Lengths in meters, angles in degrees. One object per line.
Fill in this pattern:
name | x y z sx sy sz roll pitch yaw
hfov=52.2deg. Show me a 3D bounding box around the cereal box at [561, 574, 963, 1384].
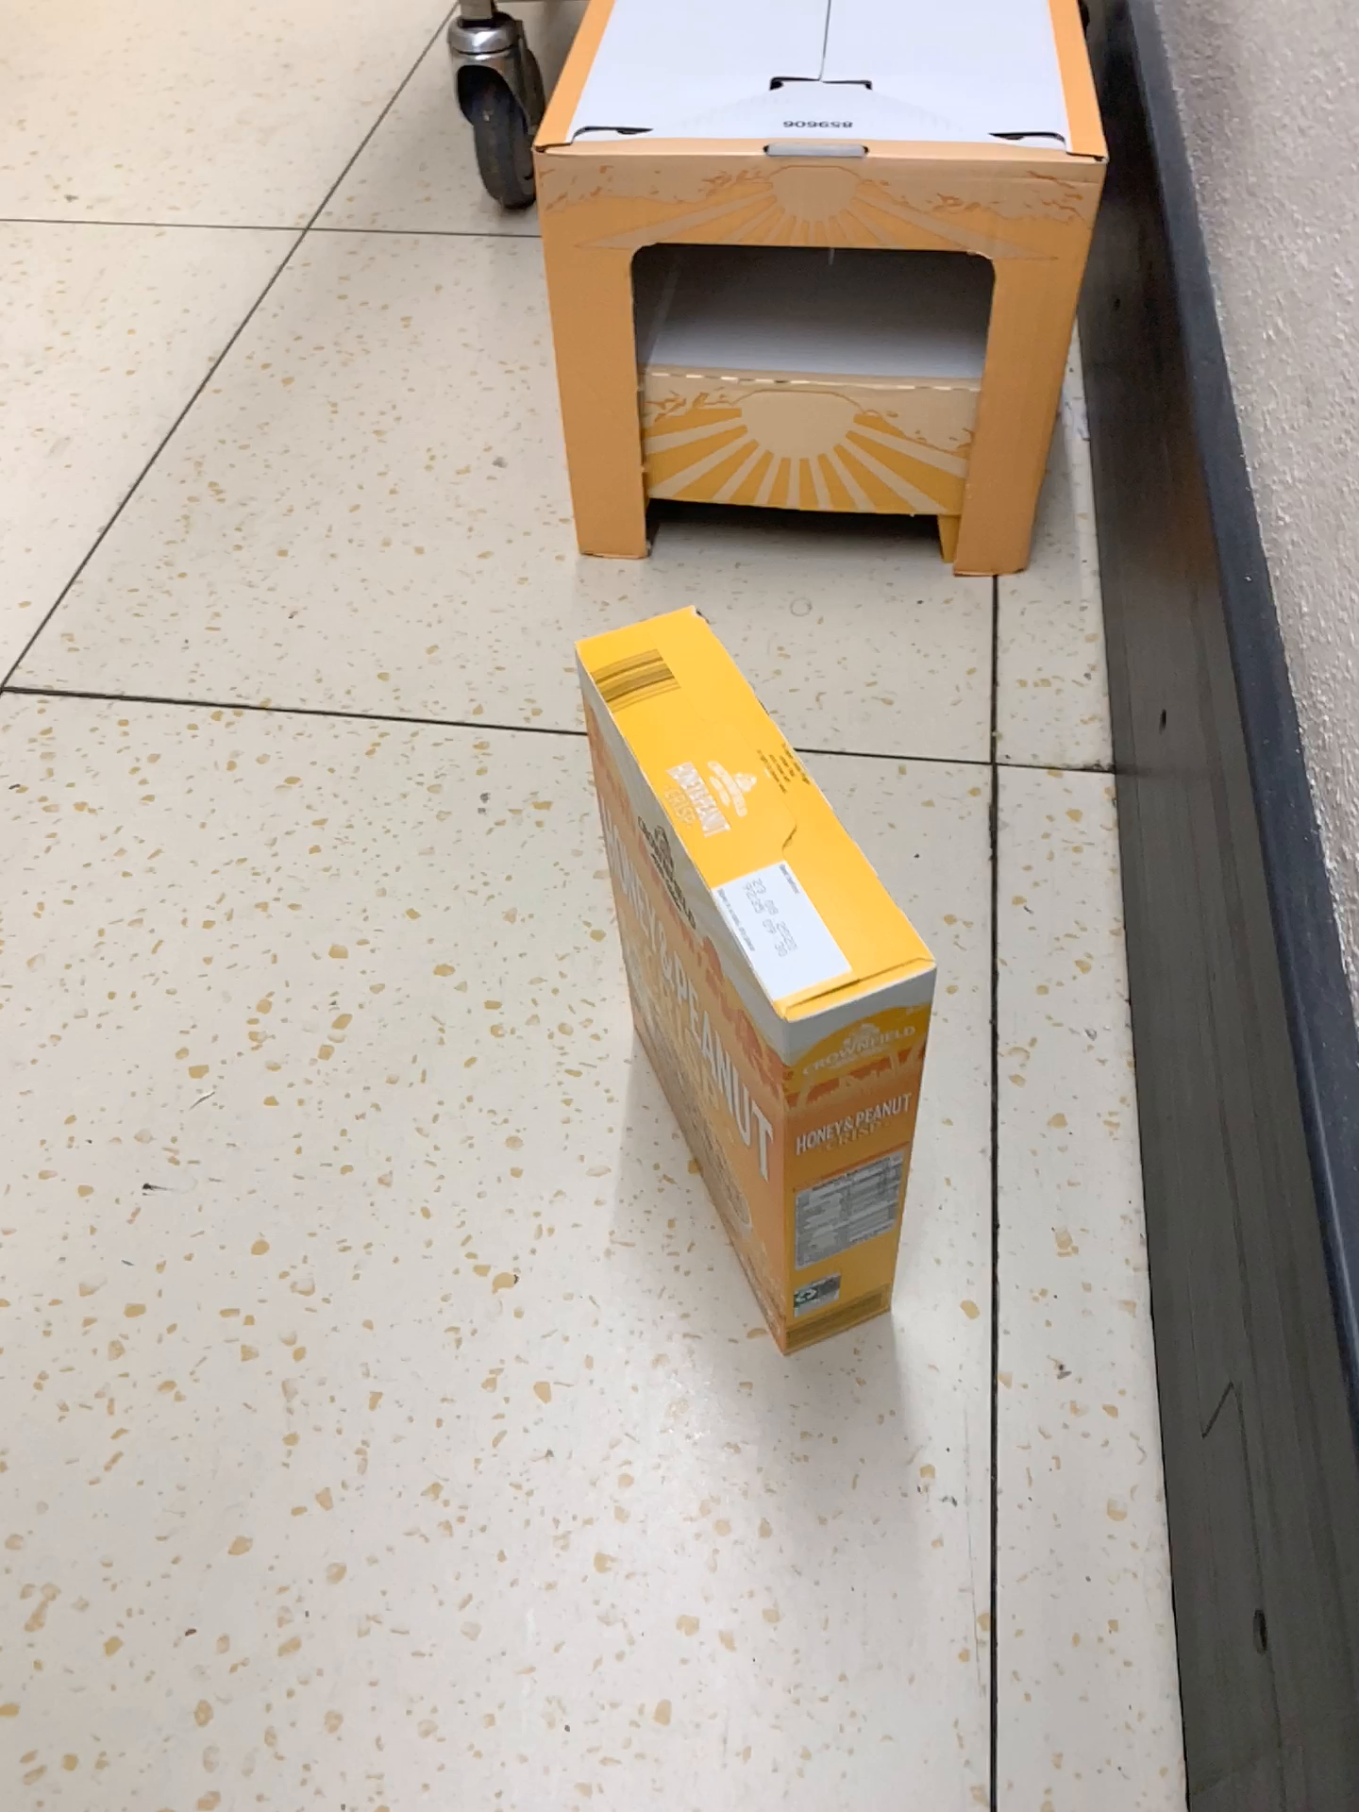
cereal box | 0.027 0.041 0.539 0.050 0.268 0.191 -20 52 -11
